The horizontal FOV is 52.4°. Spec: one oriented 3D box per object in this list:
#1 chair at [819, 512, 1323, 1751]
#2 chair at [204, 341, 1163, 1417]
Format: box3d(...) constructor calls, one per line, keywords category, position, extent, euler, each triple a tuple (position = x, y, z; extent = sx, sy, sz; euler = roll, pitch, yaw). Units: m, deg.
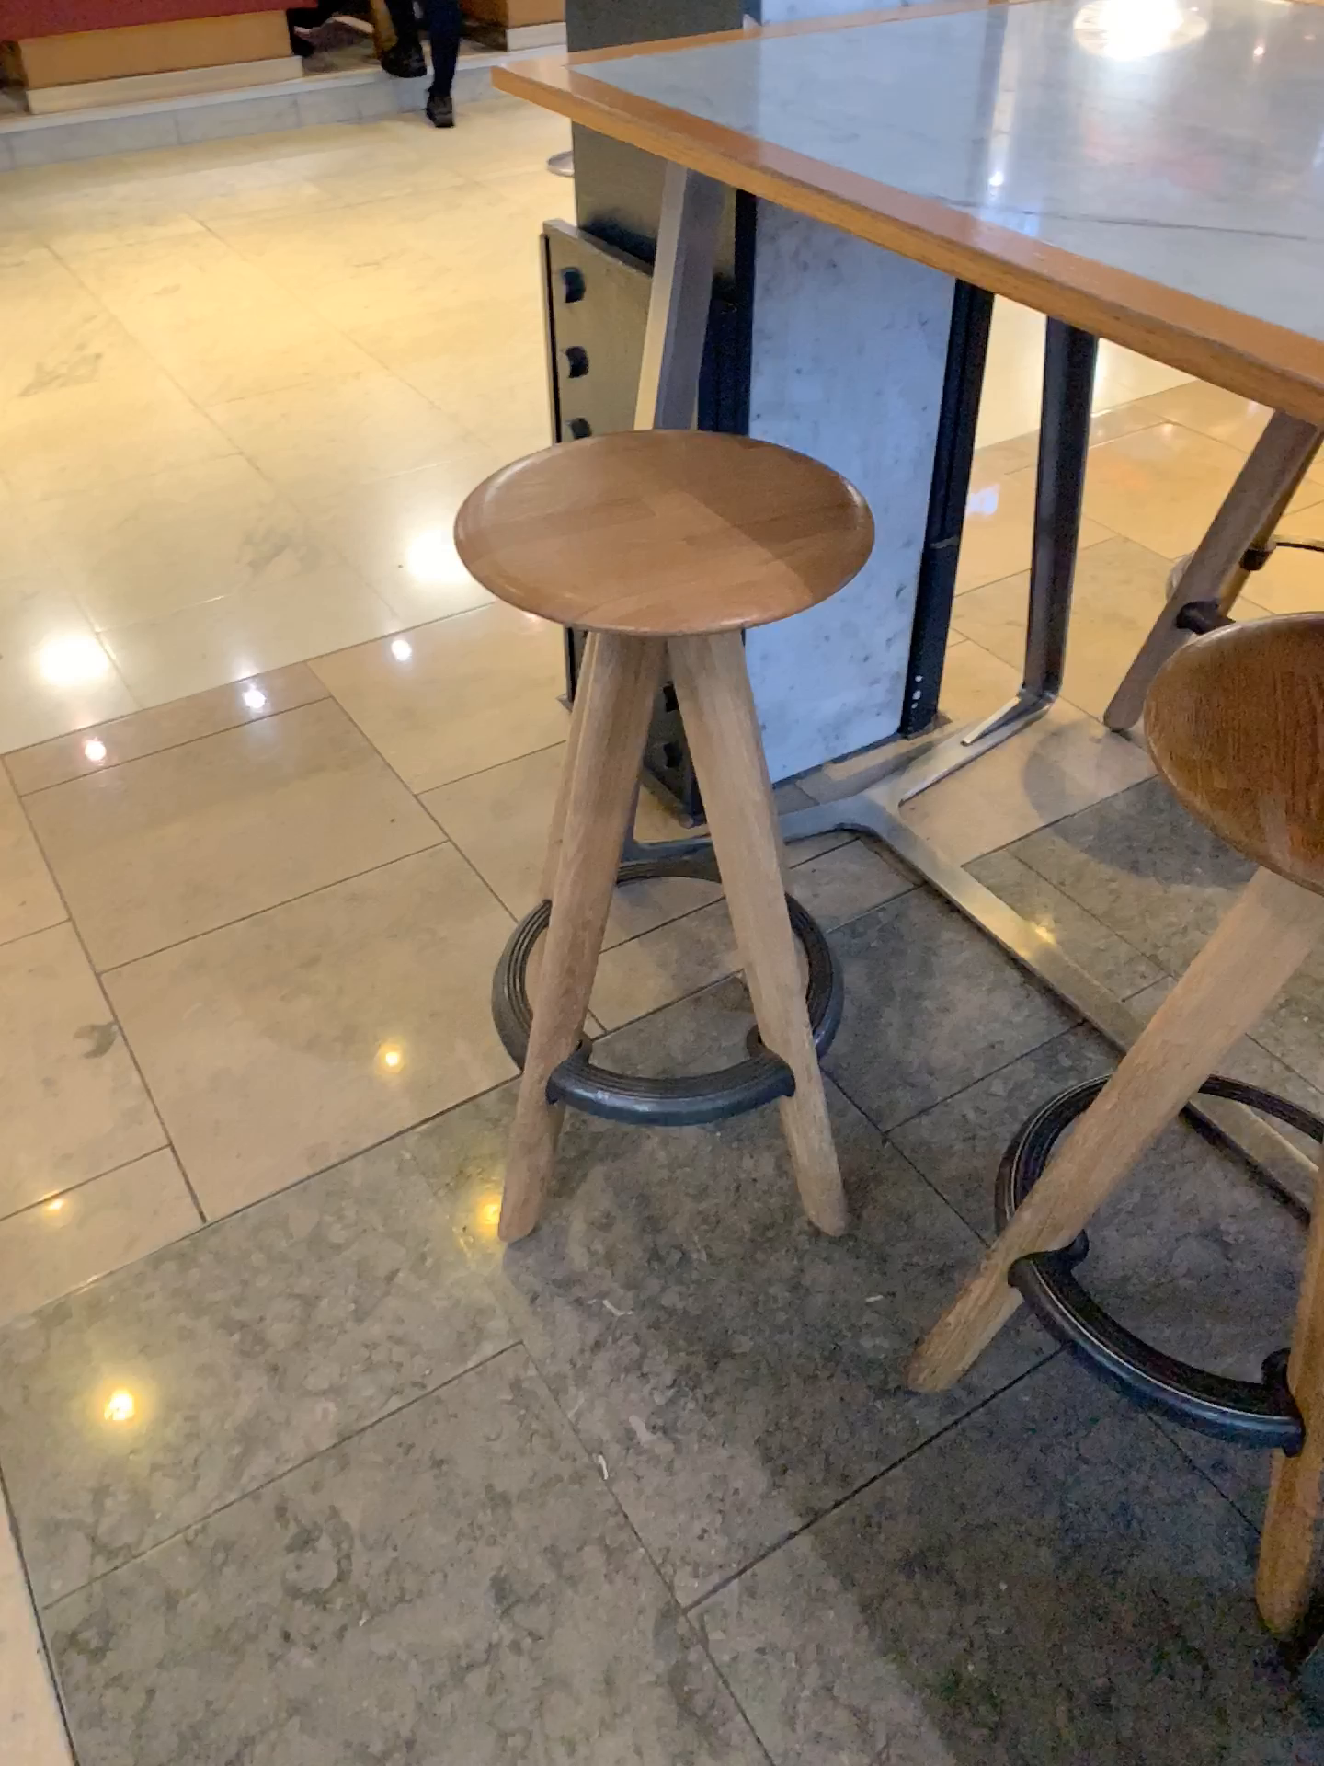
box3d(category="chair", position=(0.452, 0.188, 1.025), extent=(0.424, 0.706, 0.466), euler=(-23, 45, -23))
box3d(category="chair", position=(-0.001, -0.024, 1.286), extent=(0.554, 0.706, 0.536), euler=(-23, 45, -23))
